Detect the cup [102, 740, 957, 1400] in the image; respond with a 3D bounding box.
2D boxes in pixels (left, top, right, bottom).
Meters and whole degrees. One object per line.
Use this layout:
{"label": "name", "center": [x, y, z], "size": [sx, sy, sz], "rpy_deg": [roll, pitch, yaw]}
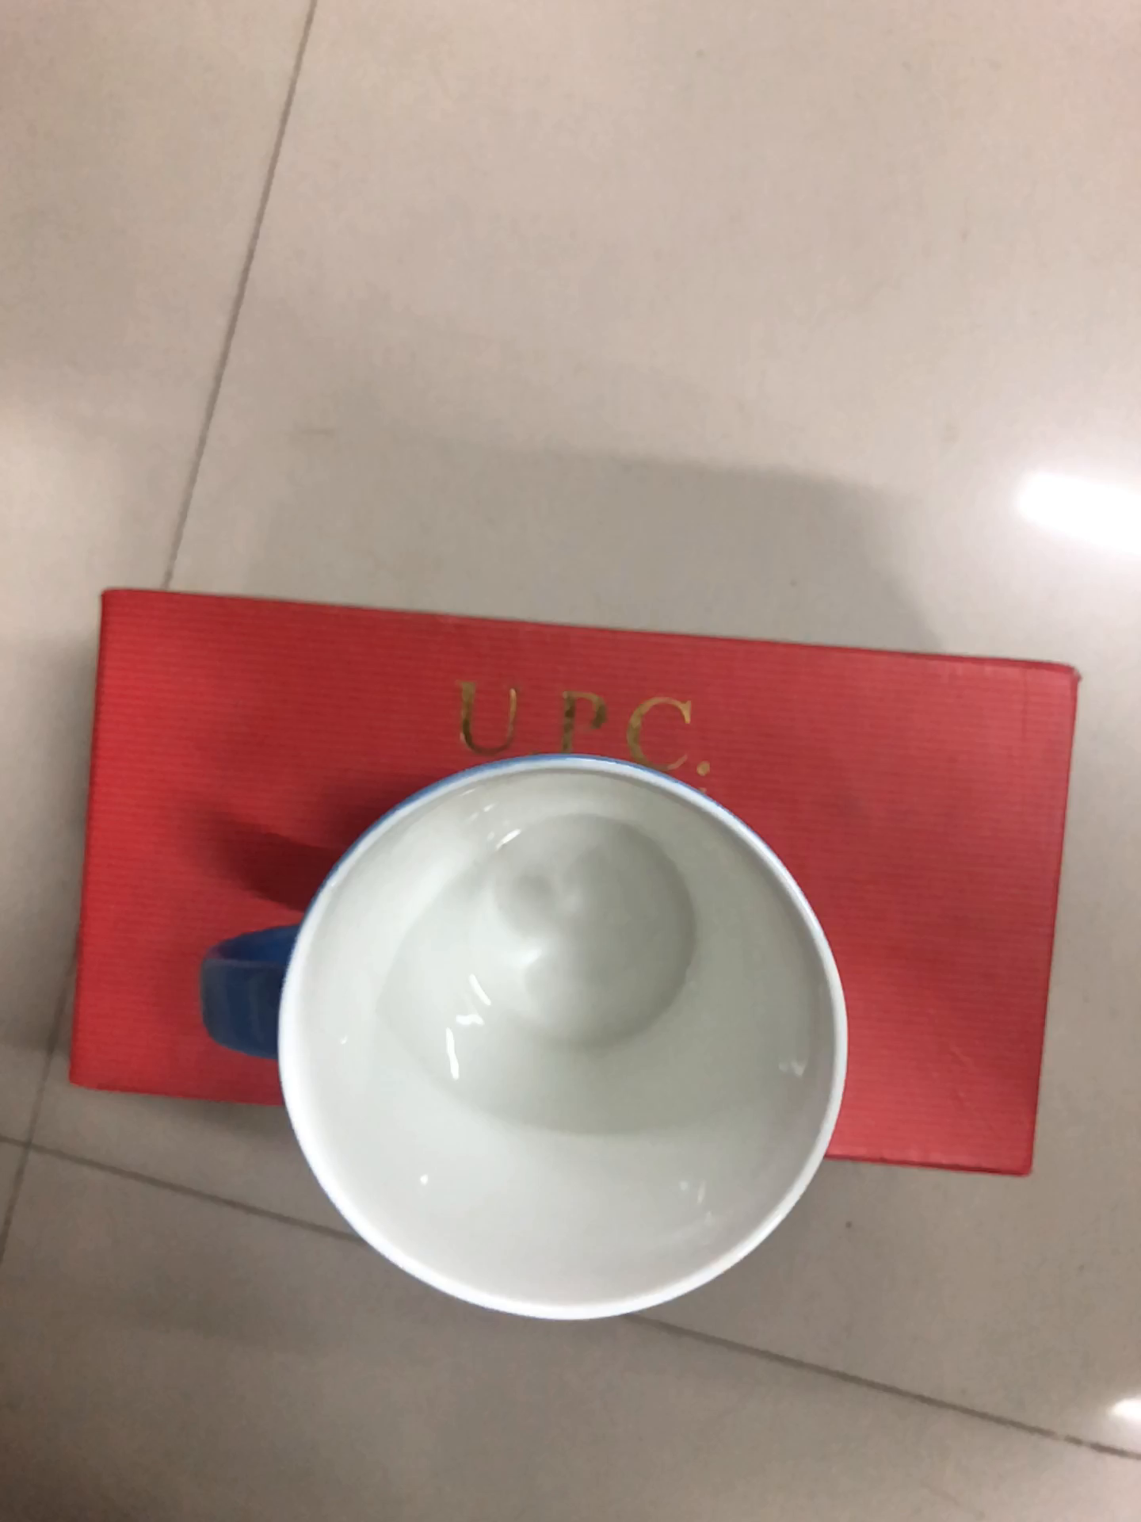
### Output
{"label": "cup", "center": [-0.004, 0.043, 0.215], "size": [0.110, 0.080, 0.080], "rpy_deg": [-5, 92, 3]}
